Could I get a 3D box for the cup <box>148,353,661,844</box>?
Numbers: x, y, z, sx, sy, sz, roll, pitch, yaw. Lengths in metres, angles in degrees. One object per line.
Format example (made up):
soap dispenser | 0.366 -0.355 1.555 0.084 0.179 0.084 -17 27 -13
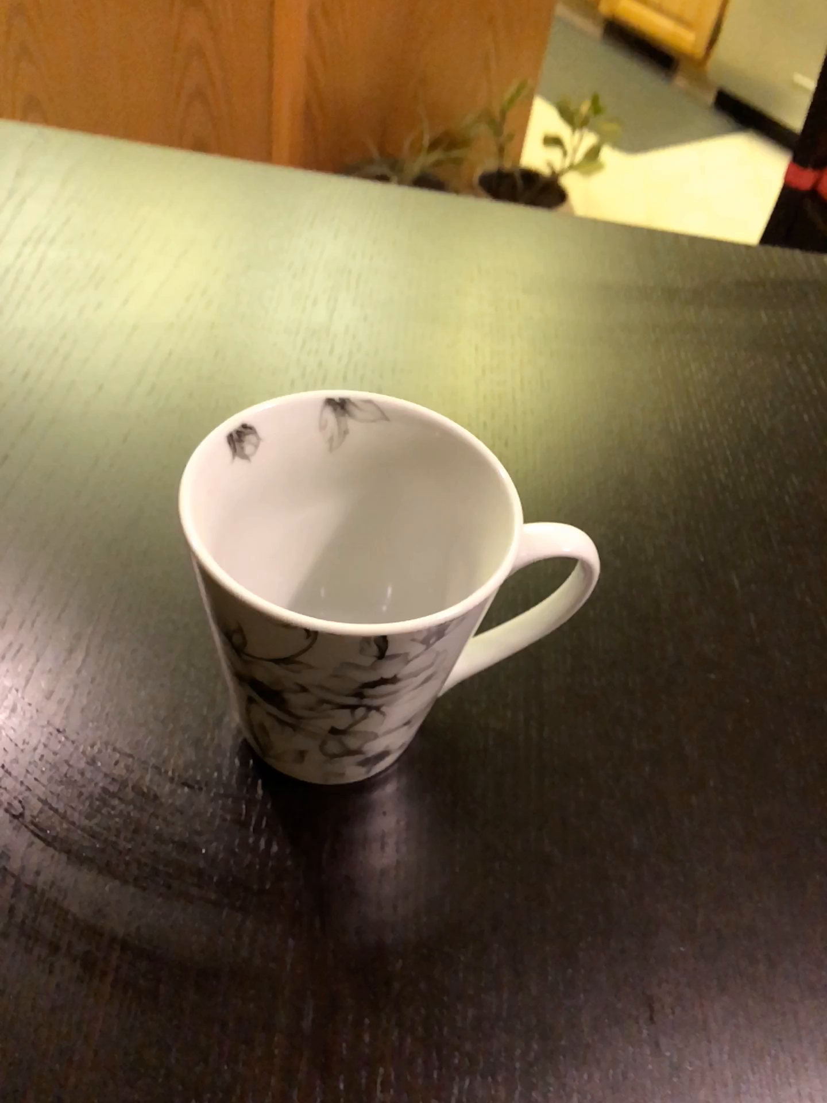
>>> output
cup | -0.014 0.011 0.283 0.120 0.099 0.100 -4 49 -14
